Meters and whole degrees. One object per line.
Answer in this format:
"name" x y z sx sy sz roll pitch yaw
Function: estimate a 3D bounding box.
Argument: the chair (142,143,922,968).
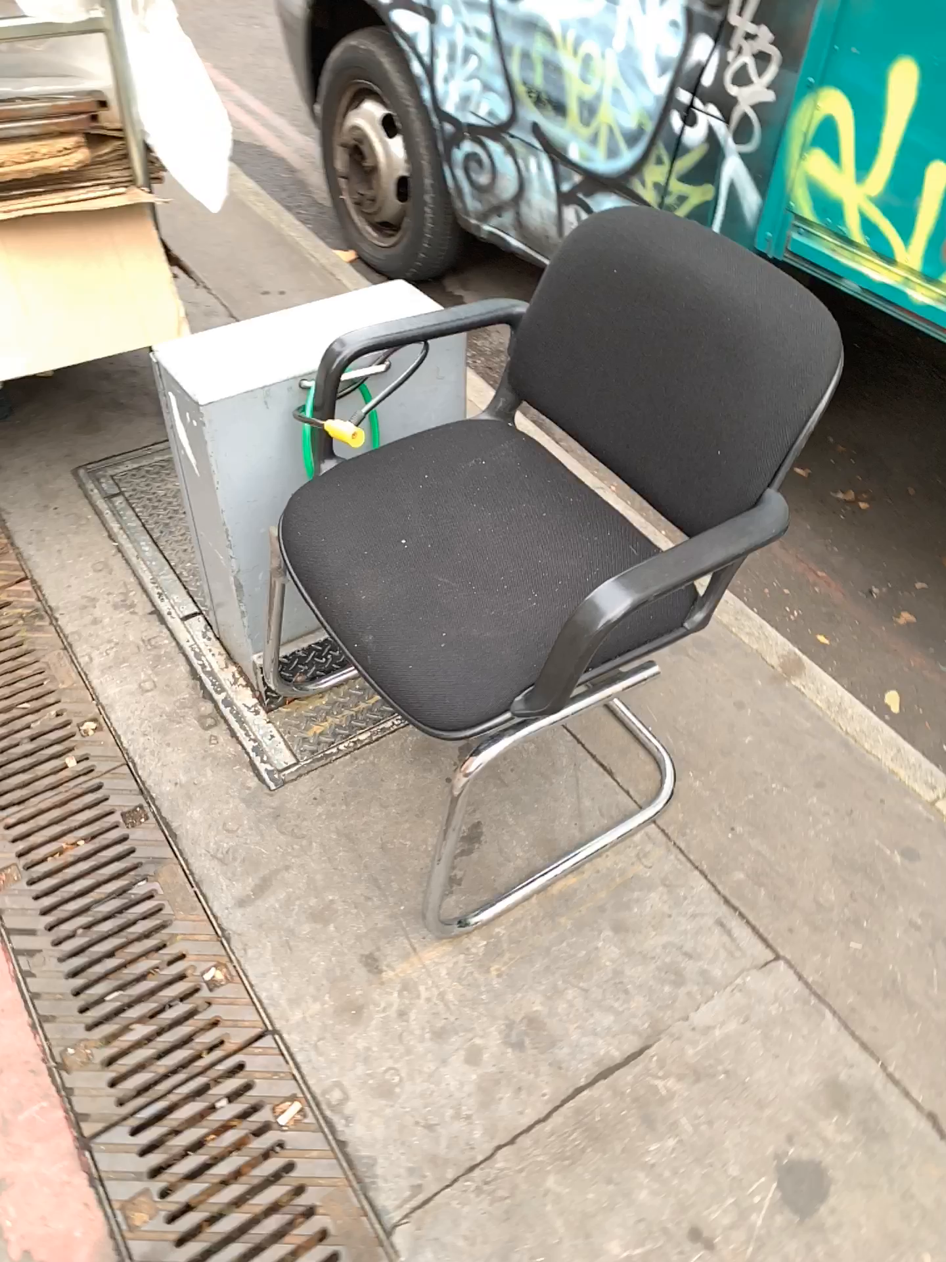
"chair" 0.025 -0.104 1.273 0.602 0.753 0.563 -24 54 -26
